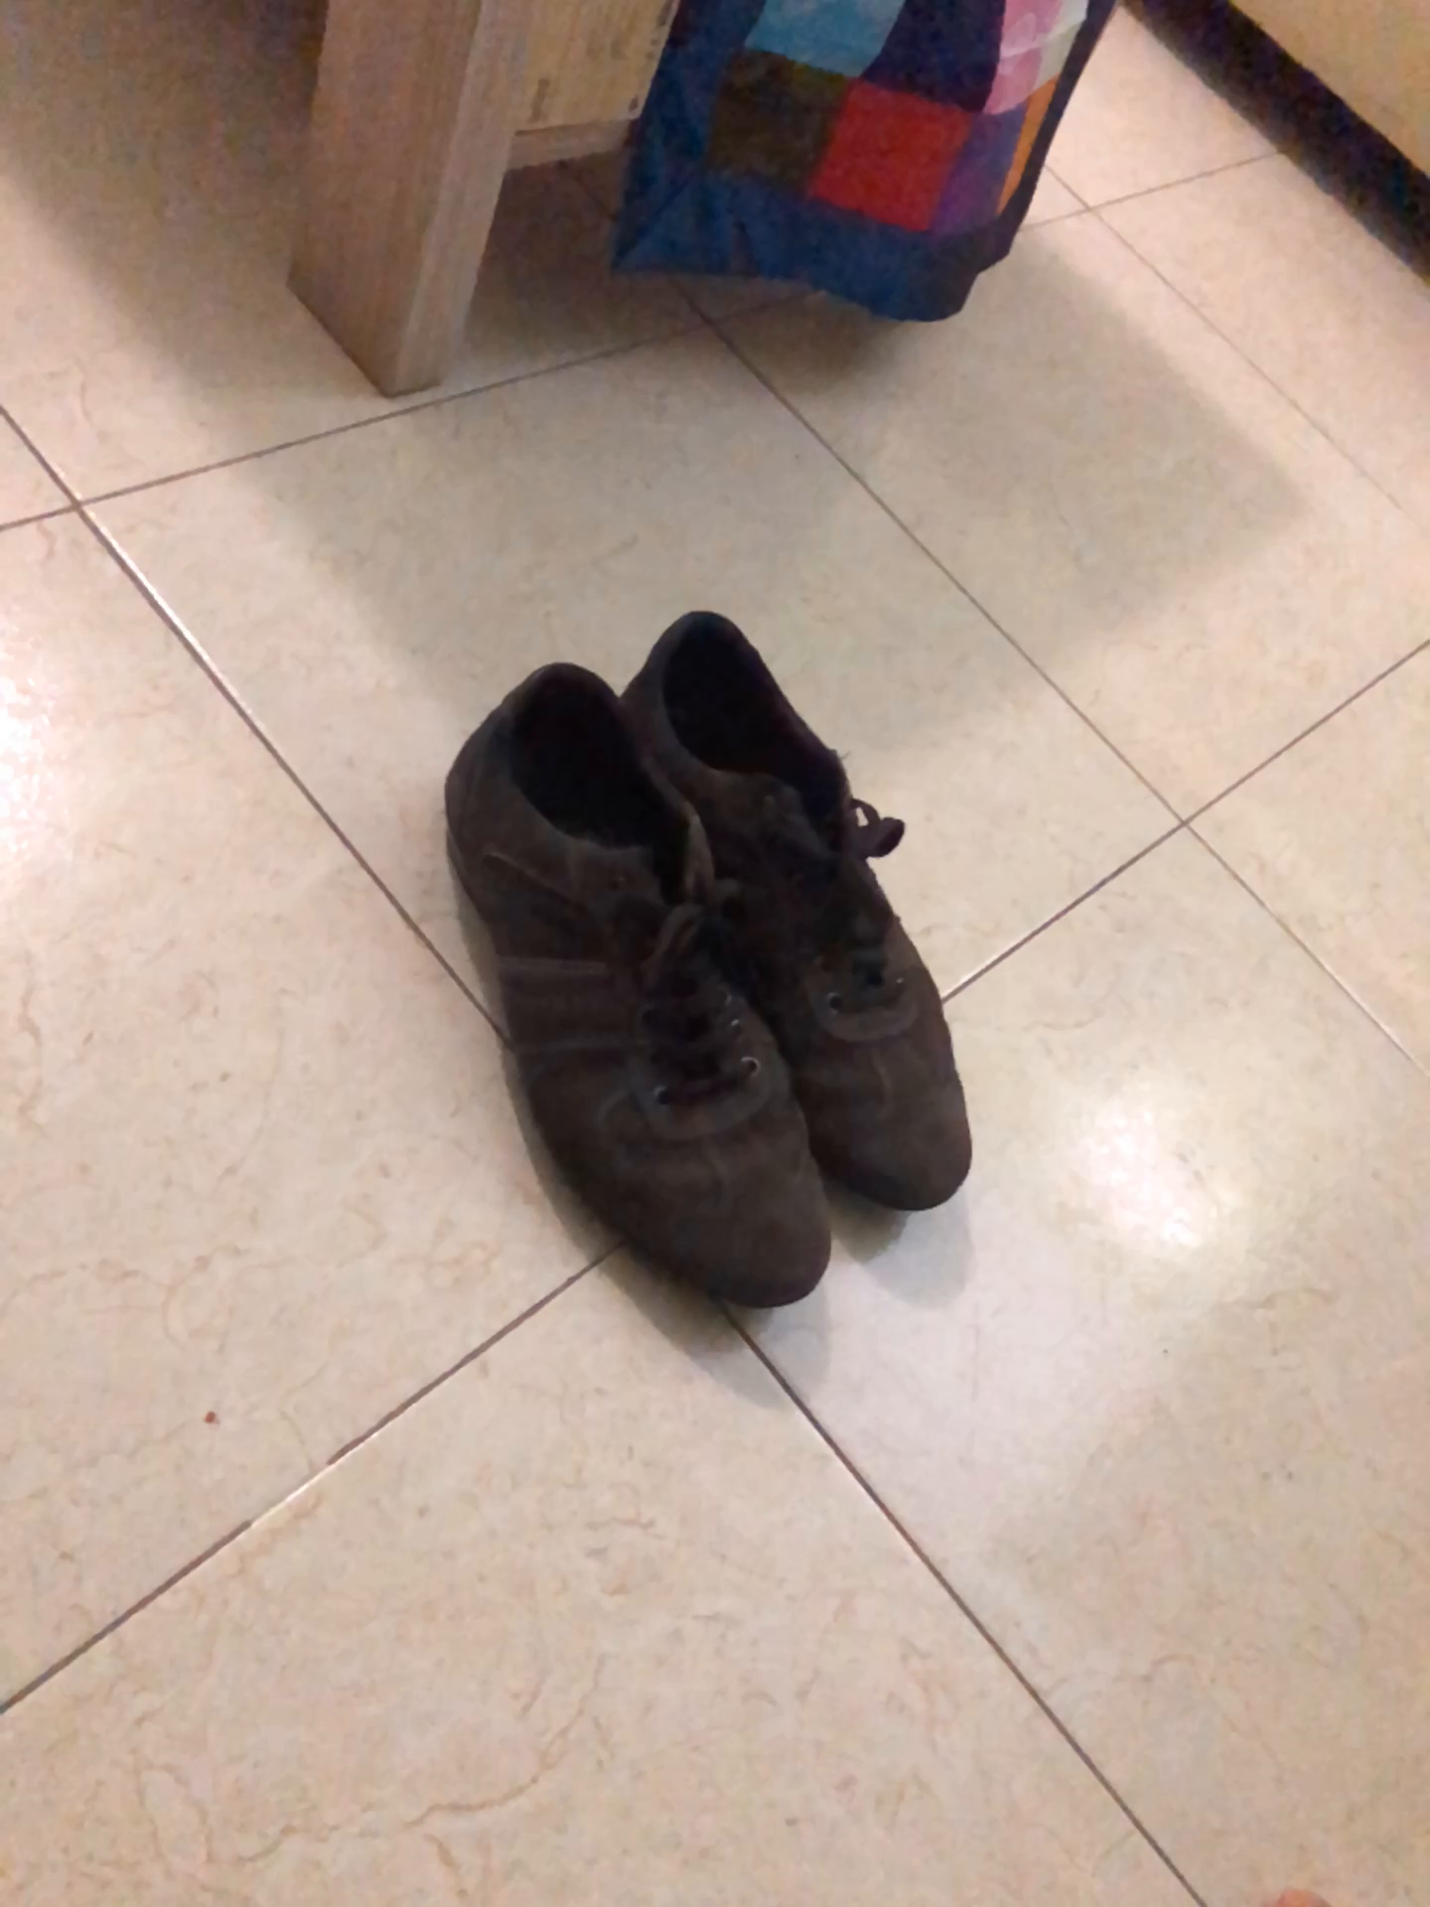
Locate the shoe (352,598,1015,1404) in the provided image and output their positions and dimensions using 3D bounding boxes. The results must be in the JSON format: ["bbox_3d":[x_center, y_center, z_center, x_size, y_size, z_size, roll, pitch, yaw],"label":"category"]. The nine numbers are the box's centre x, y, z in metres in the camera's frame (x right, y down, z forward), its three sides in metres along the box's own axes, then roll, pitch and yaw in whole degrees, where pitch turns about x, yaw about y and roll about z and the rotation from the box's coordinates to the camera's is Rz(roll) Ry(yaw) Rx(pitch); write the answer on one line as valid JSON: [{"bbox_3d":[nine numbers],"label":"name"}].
[{"bbox_3d":[-0.026,0.010,0.658,0.120,0.110,0.300,-18,68,-32],"label":"shoe"}]

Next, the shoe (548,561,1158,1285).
[{"bbox_3d":[0.050,-0.022,0.719,0.110,0.110,0.300,-17,67,-31],"label":"shoe"}]
